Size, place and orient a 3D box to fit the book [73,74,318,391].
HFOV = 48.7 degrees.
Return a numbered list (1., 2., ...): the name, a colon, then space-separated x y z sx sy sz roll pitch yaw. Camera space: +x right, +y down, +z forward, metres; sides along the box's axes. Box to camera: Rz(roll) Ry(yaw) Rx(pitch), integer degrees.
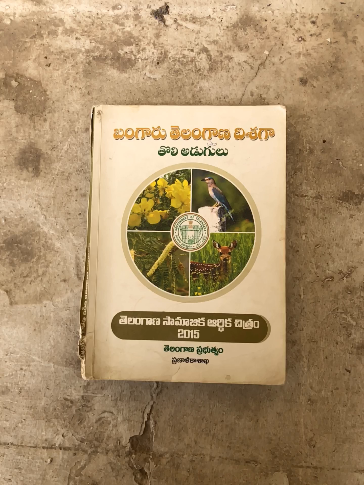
1. book: 0.015 -0.013 0.402 0.220 0.060 0.290 1 86 3
